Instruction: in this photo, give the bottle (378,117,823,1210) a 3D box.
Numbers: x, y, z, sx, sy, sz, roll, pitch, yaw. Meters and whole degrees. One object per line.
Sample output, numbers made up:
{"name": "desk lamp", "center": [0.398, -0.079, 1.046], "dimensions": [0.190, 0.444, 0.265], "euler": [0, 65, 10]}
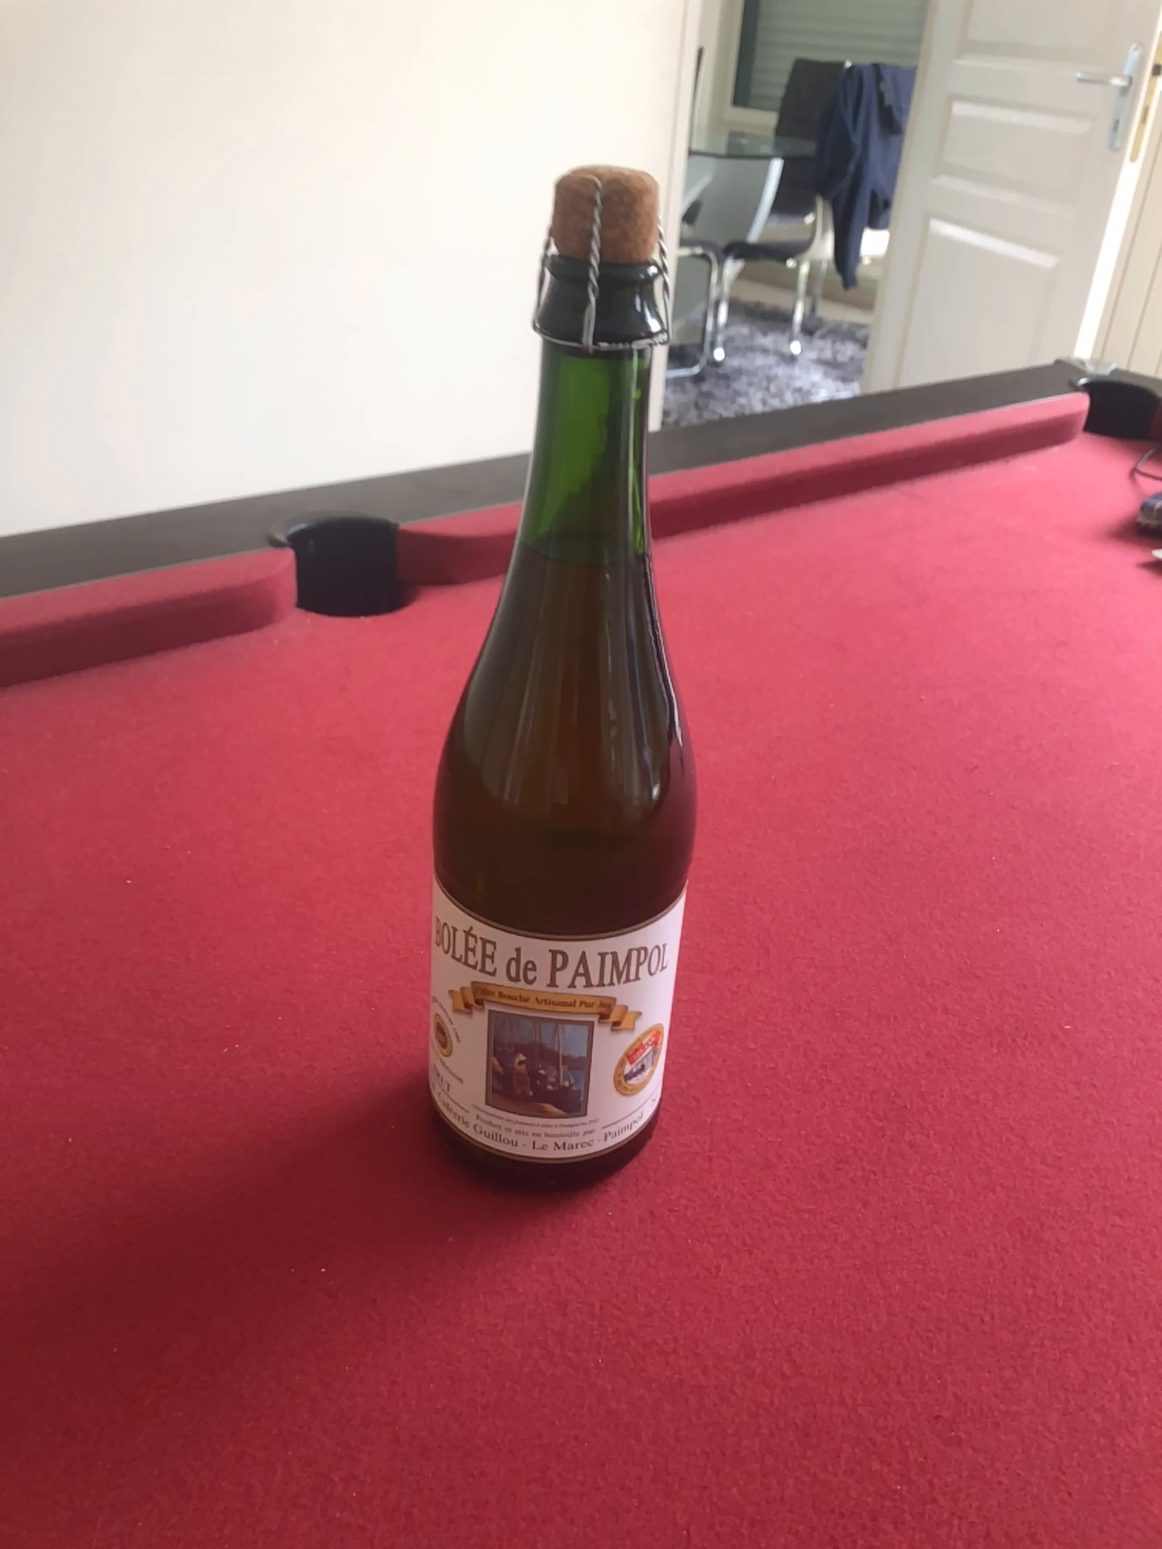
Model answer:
{"name": "bottle", "center": [-0.006, -0.019, 0.375], "dimensions": [0.090, 0.298, 0.101], "euler": [4, 30, -1]}
